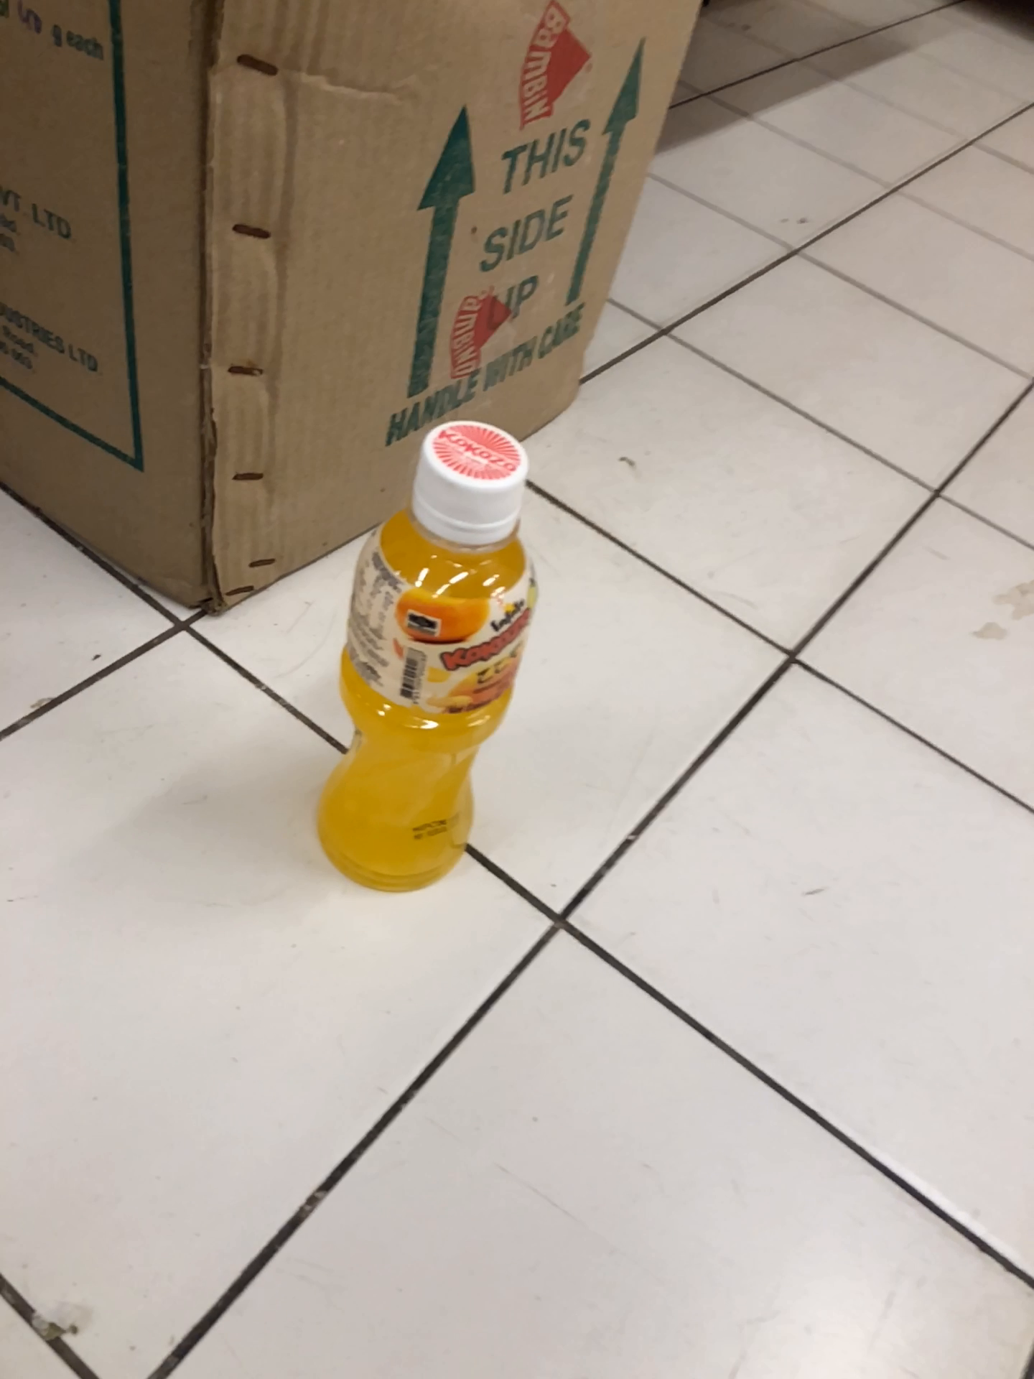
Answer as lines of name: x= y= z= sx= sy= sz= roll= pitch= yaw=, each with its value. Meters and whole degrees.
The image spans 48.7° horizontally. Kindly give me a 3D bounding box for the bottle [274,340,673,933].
bottle: x=-0.024 y=-0.010 z=0.373 sx=0.070 sy=0.179 sz=0.070 roll=9 pitch=46 yaw=-9
